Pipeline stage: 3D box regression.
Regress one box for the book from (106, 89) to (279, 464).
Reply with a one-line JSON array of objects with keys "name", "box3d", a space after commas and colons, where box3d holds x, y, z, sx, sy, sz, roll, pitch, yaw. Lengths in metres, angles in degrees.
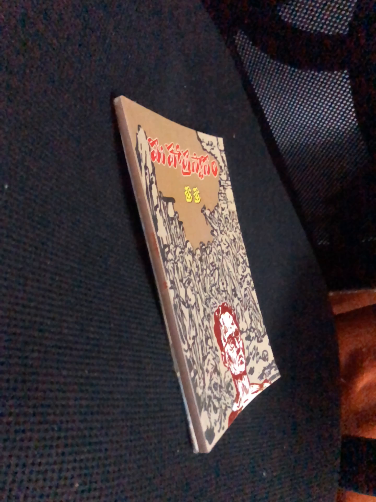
[{"name": "book", "box3d": [0.014, 0.010, 0.306, 0.141, 0.018, 0.220, -8, 86, -61]}]
